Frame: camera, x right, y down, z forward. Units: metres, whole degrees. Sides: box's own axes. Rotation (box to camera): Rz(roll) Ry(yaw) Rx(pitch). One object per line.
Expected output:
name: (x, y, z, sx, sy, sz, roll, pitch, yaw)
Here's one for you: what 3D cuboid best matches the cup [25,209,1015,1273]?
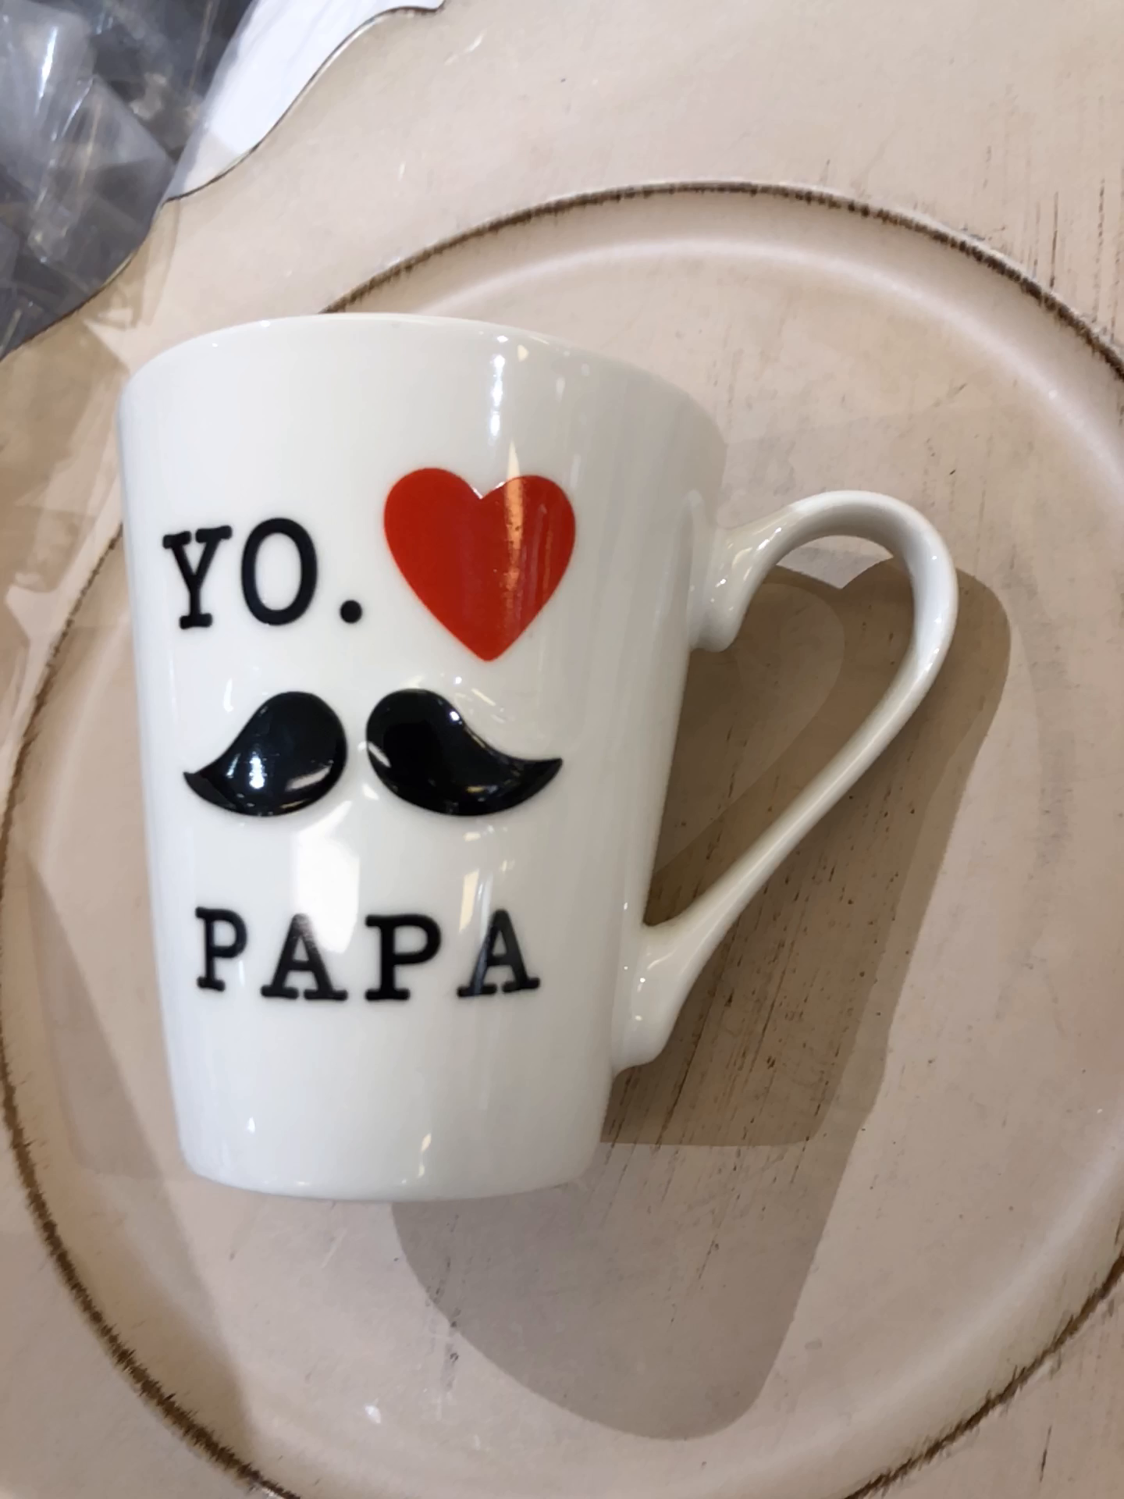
cup: (-0.002, 0.000, 0.190, 0.110, 0.090, 0.120, 0, 85, 4)
